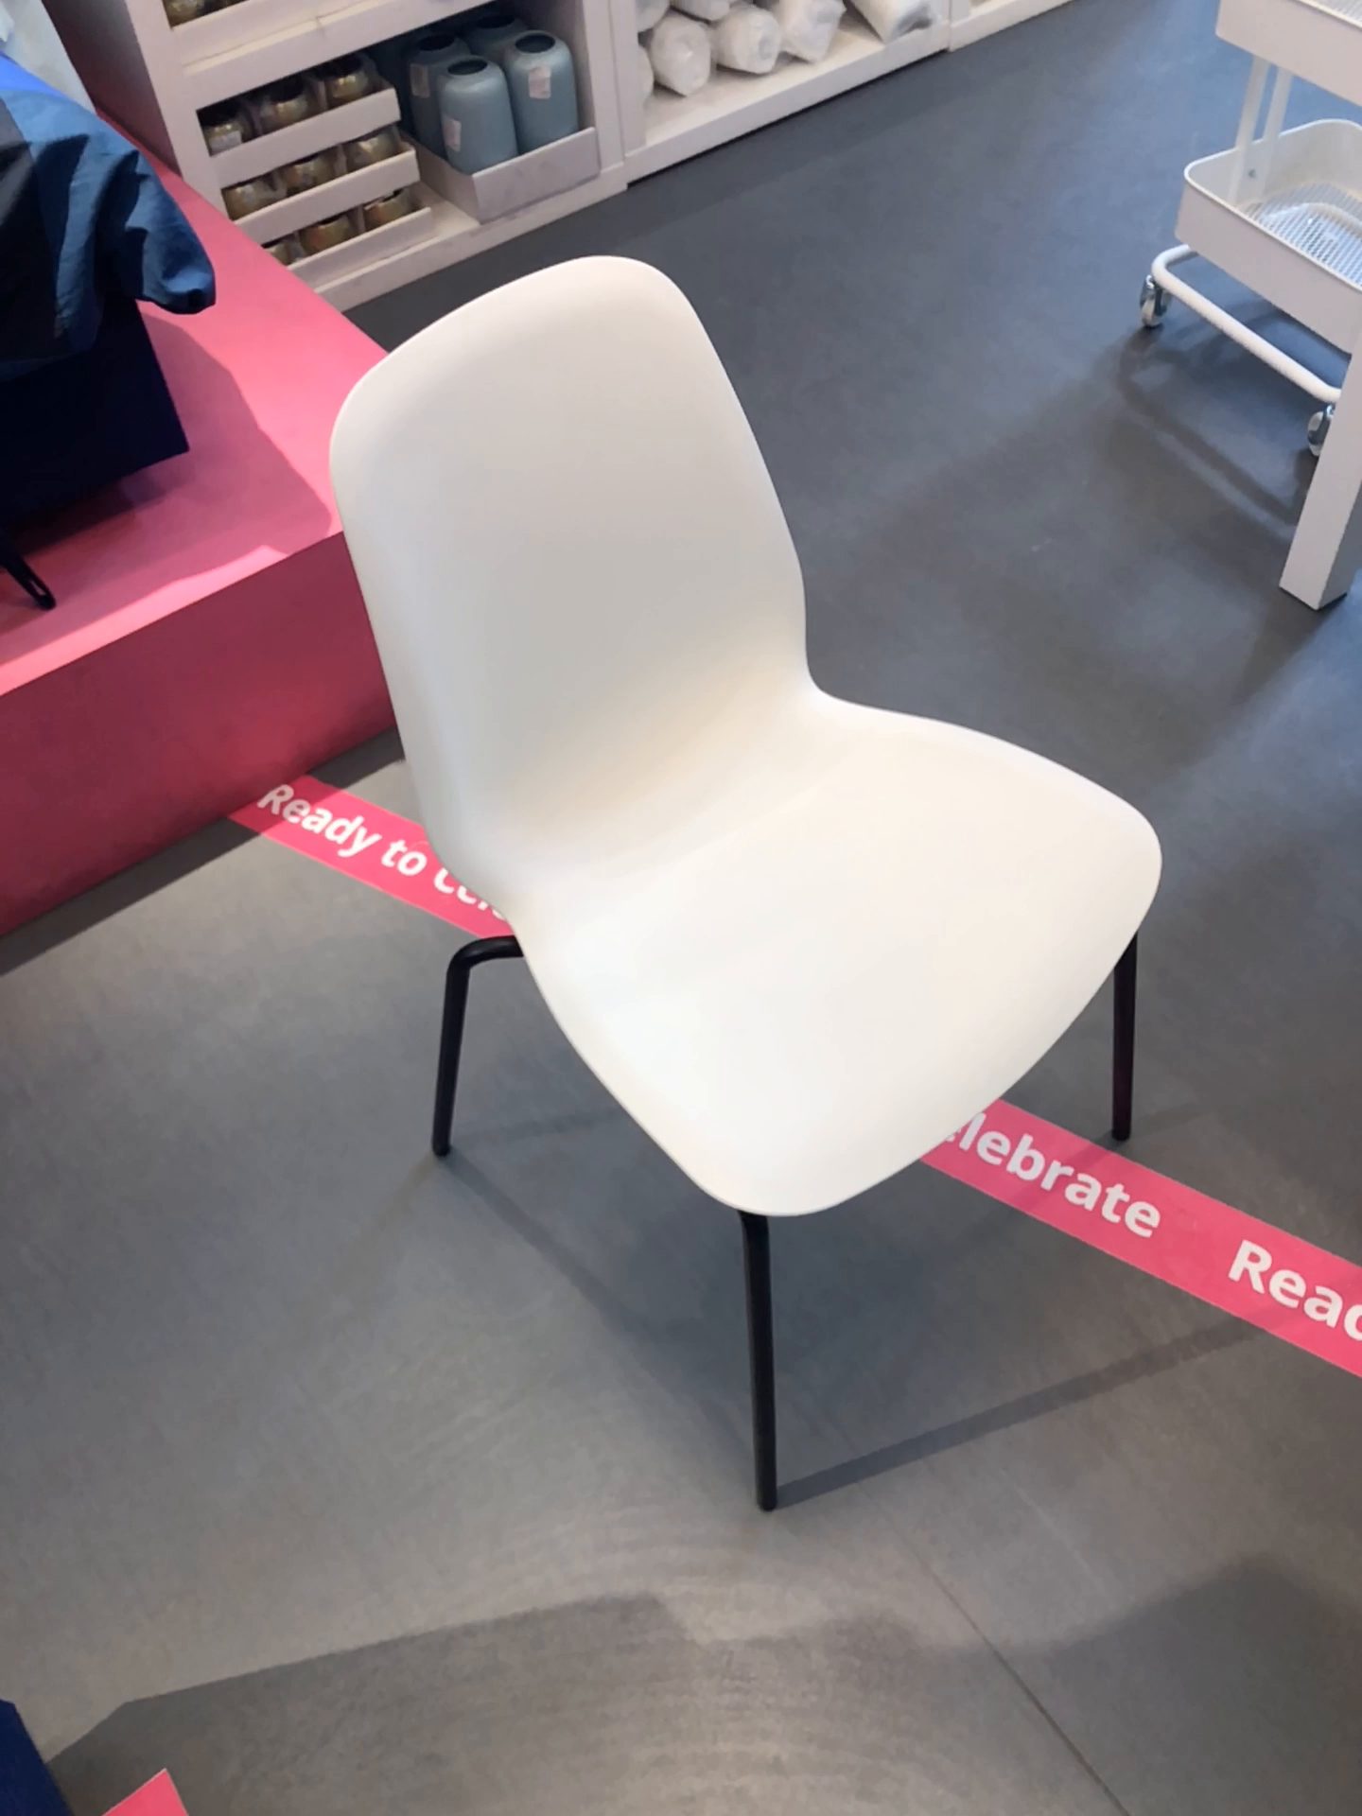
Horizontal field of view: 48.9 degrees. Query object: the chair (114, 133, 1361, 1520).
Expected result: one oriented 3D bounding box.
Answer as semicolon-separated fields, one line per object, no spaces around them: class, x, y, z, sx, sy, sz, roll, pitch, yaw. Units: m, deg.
chair;0.060;-0.026;1.117;0.511;0.756;0.492;-38;58;-23
